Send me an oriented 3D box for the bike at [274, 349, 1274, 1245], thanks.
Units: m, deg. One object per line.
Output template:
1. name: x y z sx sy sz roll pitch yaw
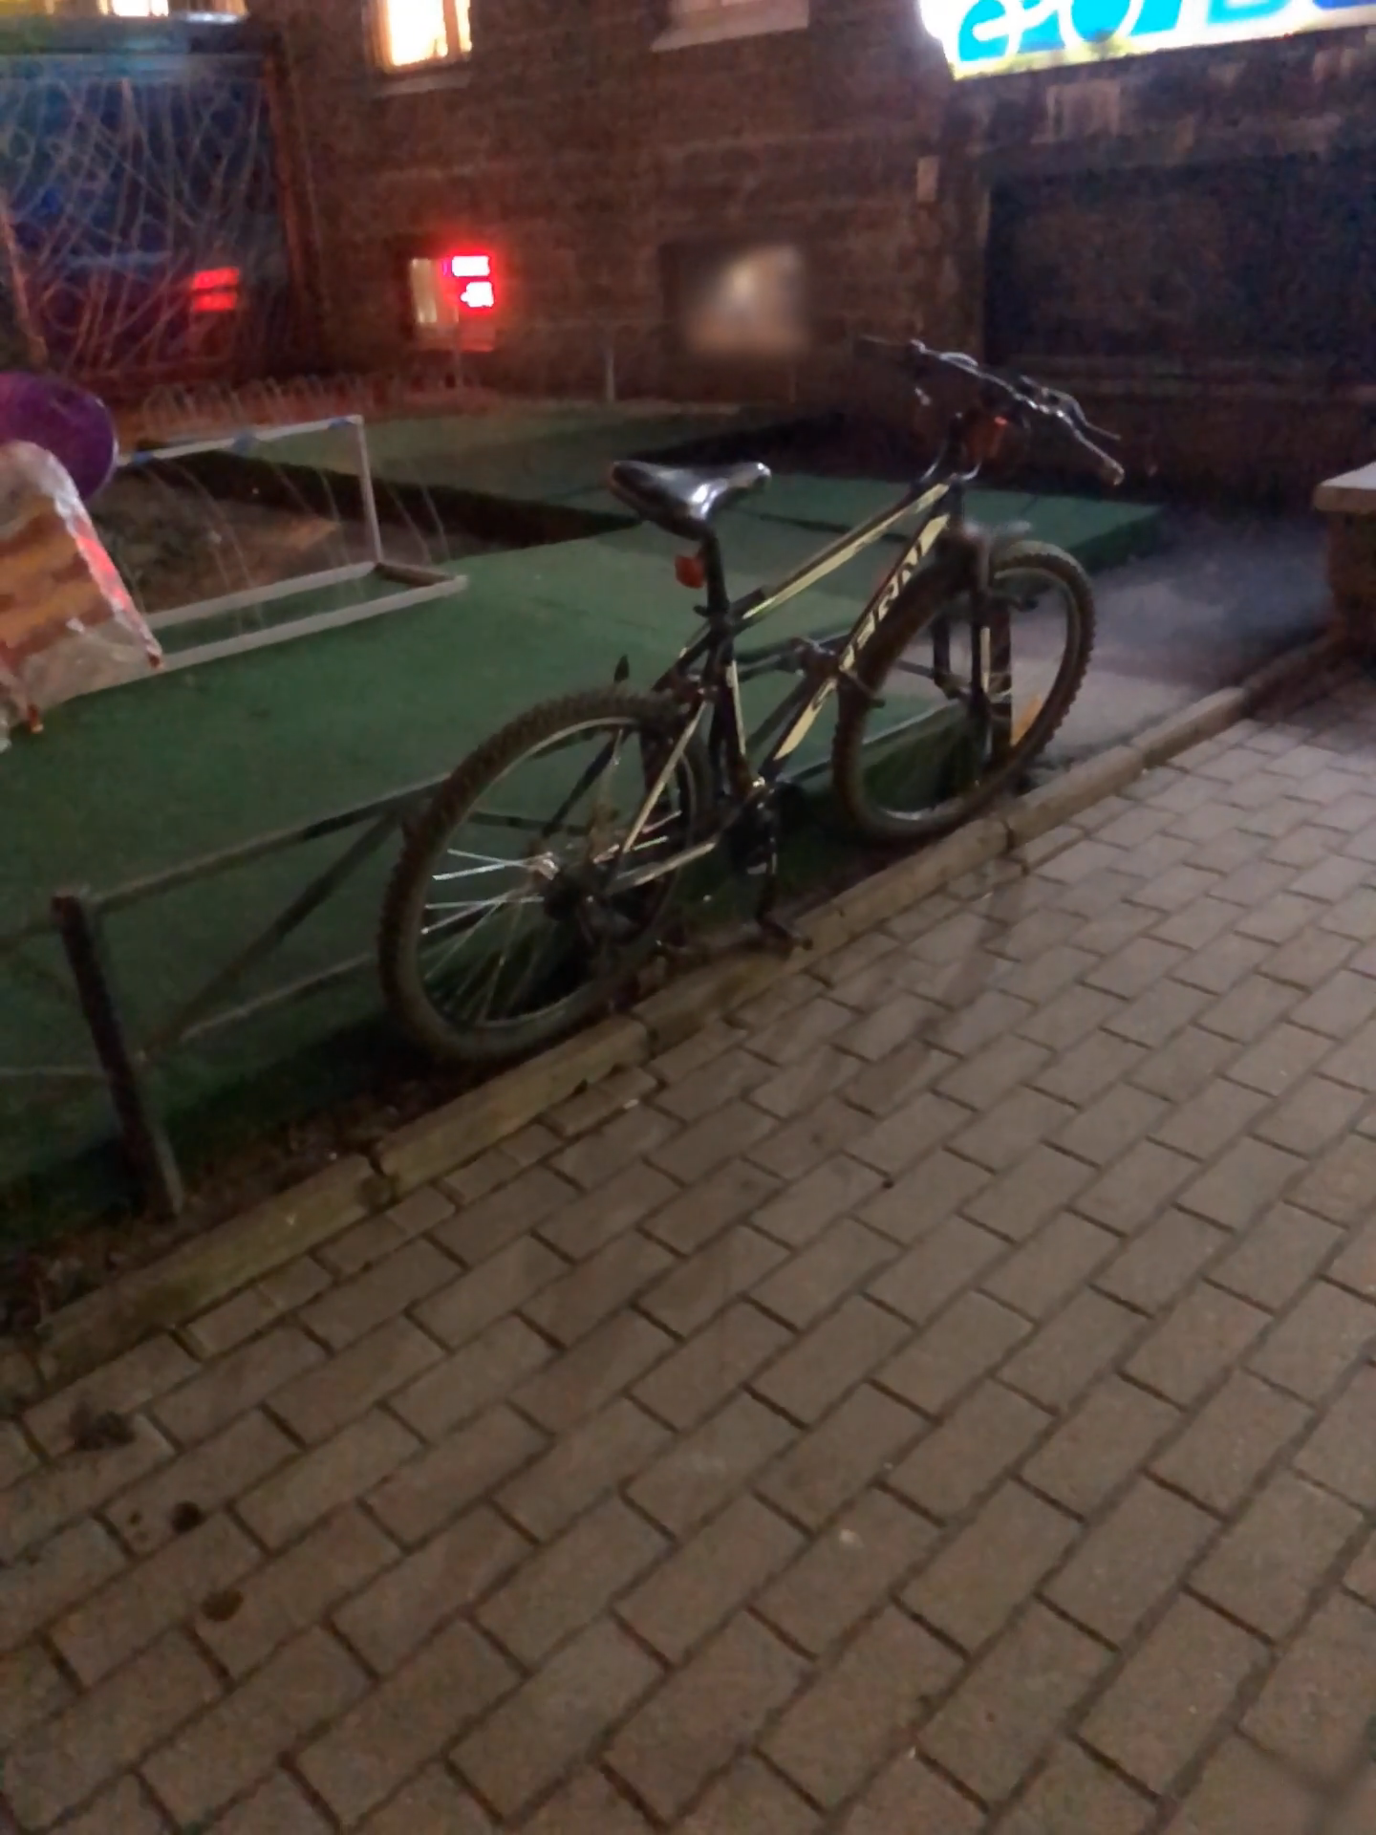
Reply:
1. bike: 0.236 -0.320 2.199 1.460 0.883 0.531 -23 30 -39
